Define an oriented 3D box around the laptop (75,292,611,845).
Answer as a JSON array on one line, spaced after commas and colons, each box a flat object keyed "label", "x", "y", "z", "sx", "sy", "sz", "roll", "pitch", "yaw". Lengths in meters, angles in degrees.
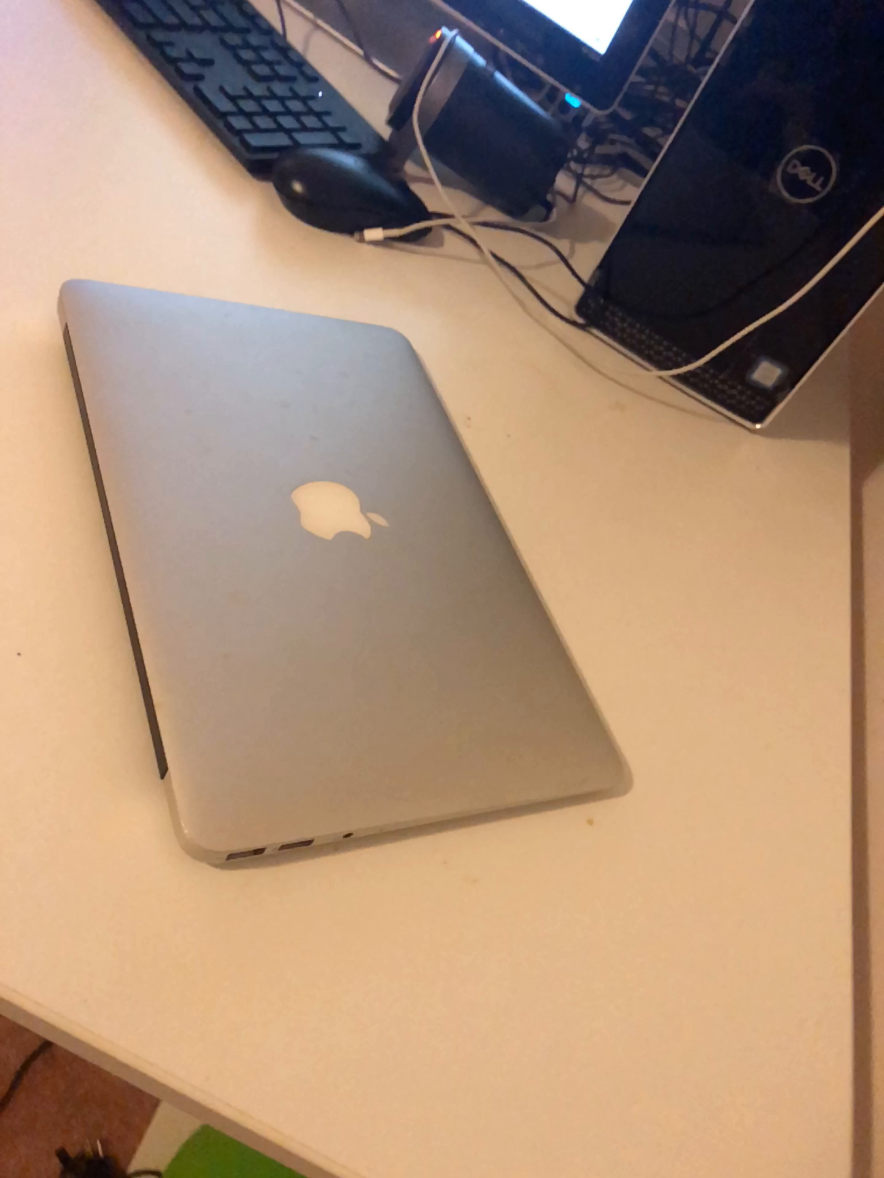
[{"label": "laptop", "x": -0.054, "y": -0.031, "z": 0.449, "sx": 0.178, "sy": 0.004, "sz": 0.291, "roll": -1, "pitch": 53, "yaw": -32}]
